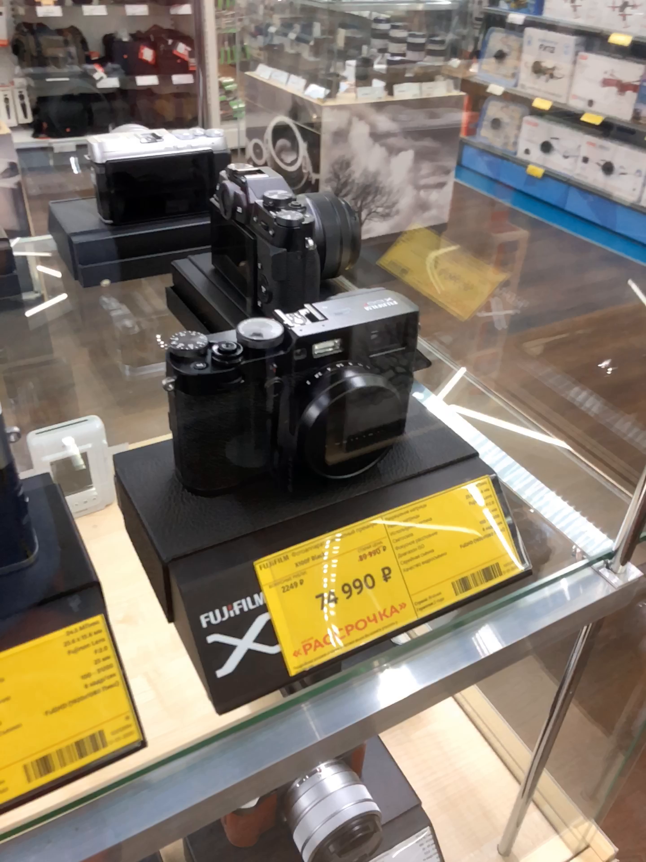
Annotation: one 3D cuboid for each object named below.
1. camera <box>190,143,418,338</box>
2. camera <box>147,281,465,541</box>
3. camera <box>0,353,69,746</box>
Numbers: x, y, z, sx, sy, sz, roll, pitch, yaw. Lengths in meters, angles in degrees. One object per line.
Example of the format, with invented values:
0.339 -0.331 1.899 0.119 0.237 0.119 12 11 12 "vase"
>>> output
-0.018 -0.140 0.501 0.104 0.081 0.131 -17 40 -25 "camera"
-0.007 -0.014 0.336 0.131 0.075 0.054 -17 40 -25 "camera"
-0.168 0.035 0.247 0.131 0.081 0.054 -17 40 -25 "camera"
